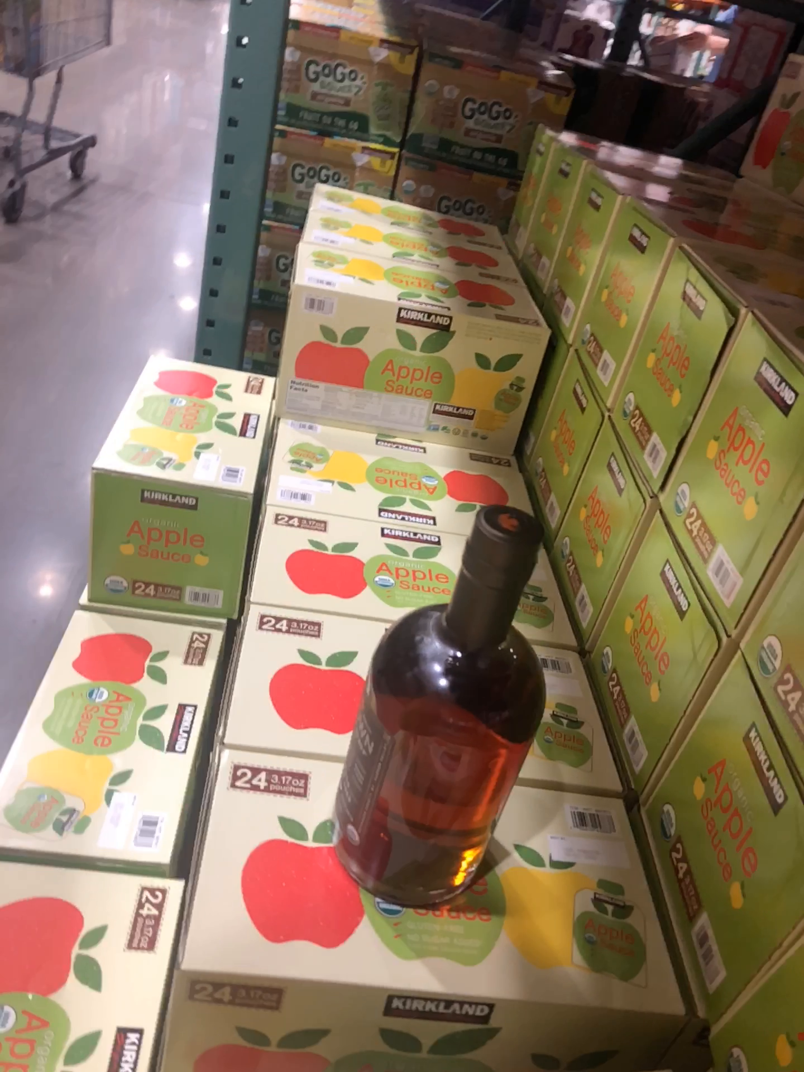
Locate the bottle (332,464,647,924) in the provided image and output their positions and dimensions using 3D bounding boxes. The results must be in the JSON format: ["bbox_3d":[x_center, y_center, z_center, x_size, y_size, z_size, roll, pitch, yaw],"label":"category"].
[{"bbox_3d":[0.029,0.089,0.455,0.090,0.219,0.101,8,34,-11],"label":"bottle"}]
